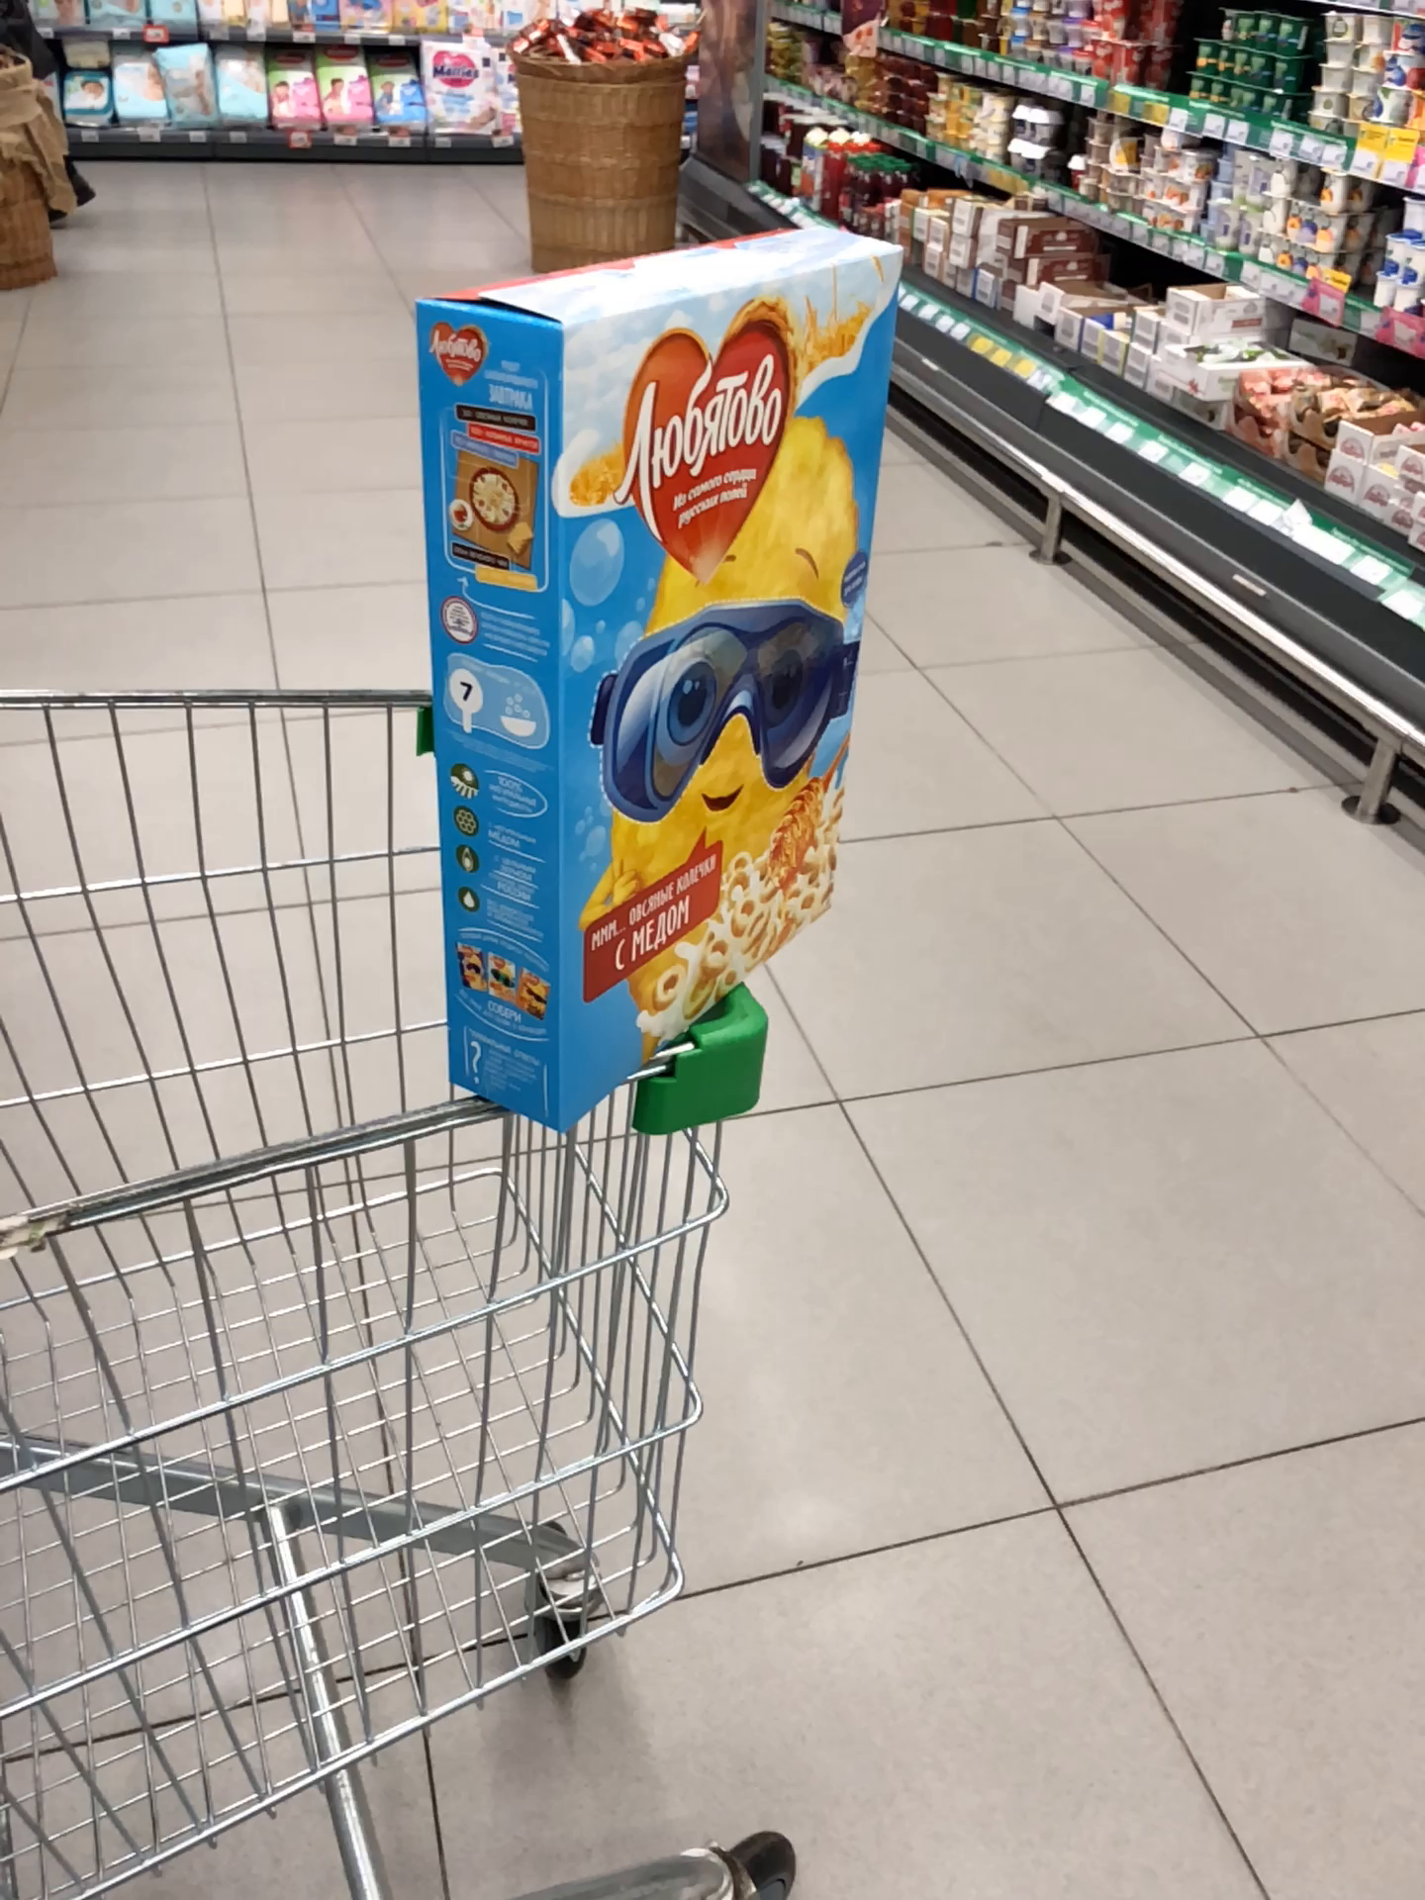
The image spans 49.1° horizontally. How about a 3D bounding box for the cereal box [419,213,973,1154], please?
[{"bbox_3d":[-0.001,-0.094,0.512,0.060,0.249,0.201,21,36,25],"label":"cereal box"}]
